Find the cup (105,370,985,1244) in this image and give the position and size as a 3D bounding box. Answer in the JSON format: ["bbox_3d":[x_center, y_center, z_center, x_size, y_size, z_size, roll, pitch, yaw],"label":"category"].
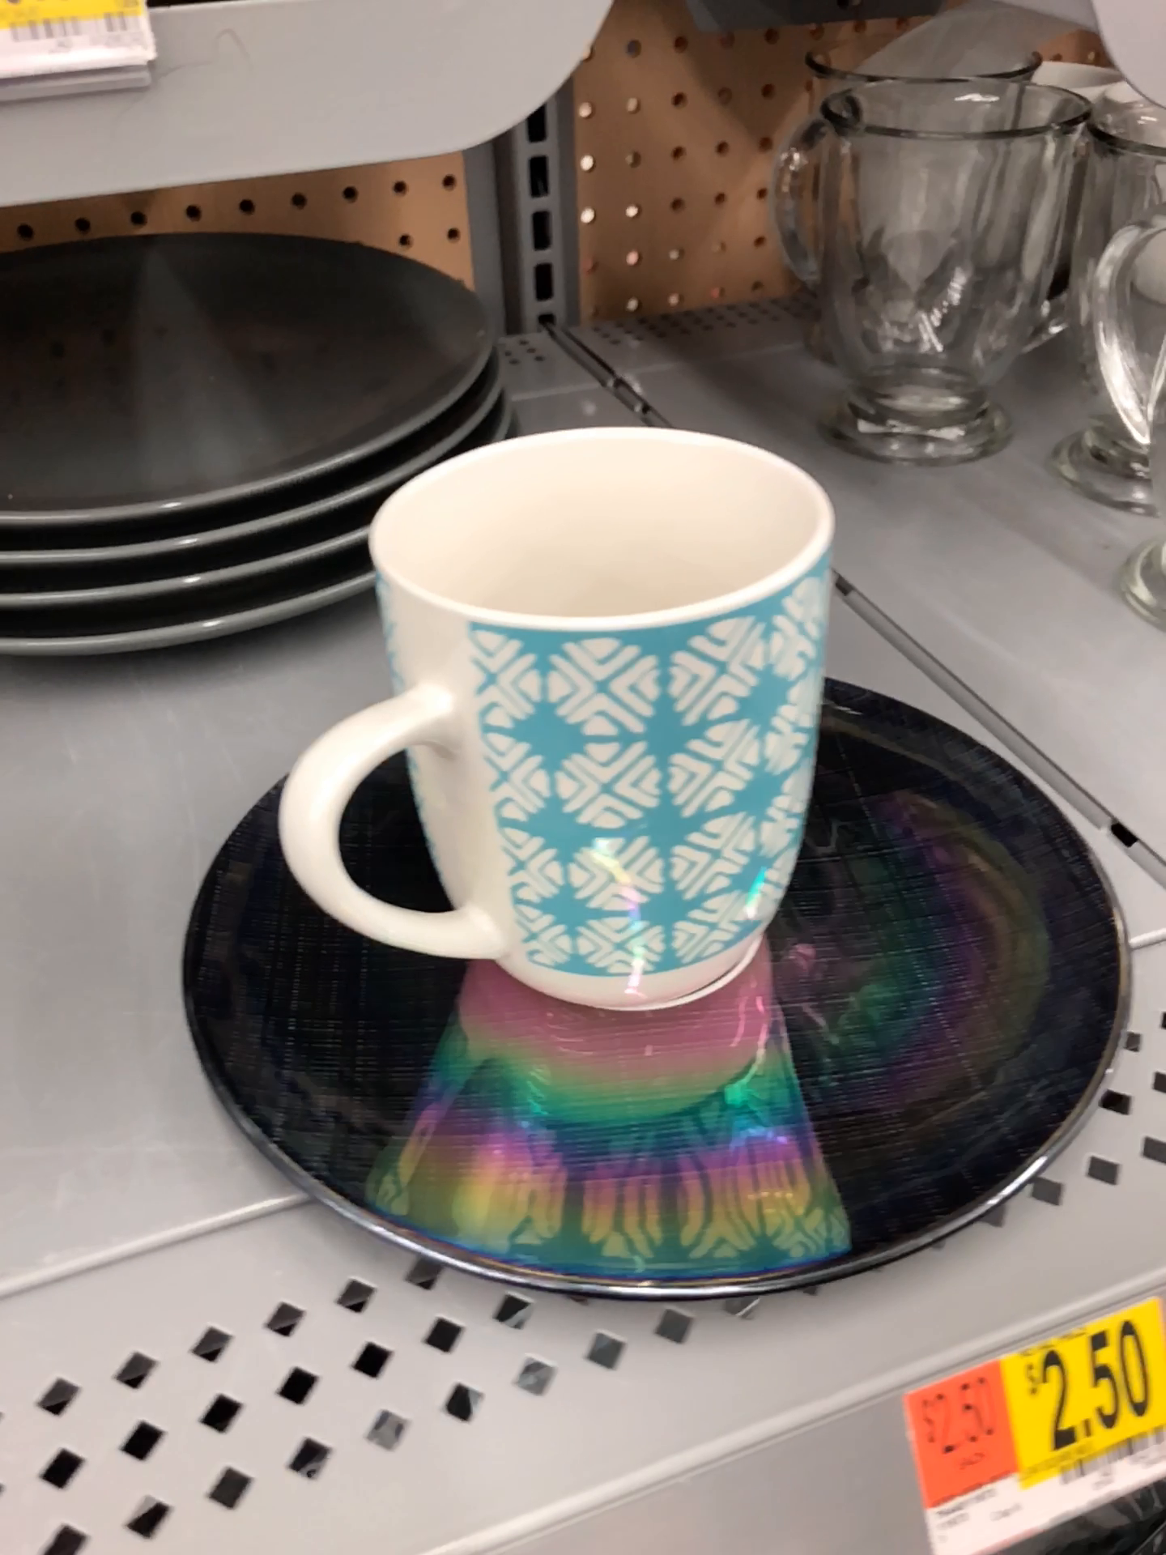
[{"bbox_3d":[-0.003,-0.005,0.251,0.122,0.098,0.089,-30,44,-32],"label":"cup"}]
